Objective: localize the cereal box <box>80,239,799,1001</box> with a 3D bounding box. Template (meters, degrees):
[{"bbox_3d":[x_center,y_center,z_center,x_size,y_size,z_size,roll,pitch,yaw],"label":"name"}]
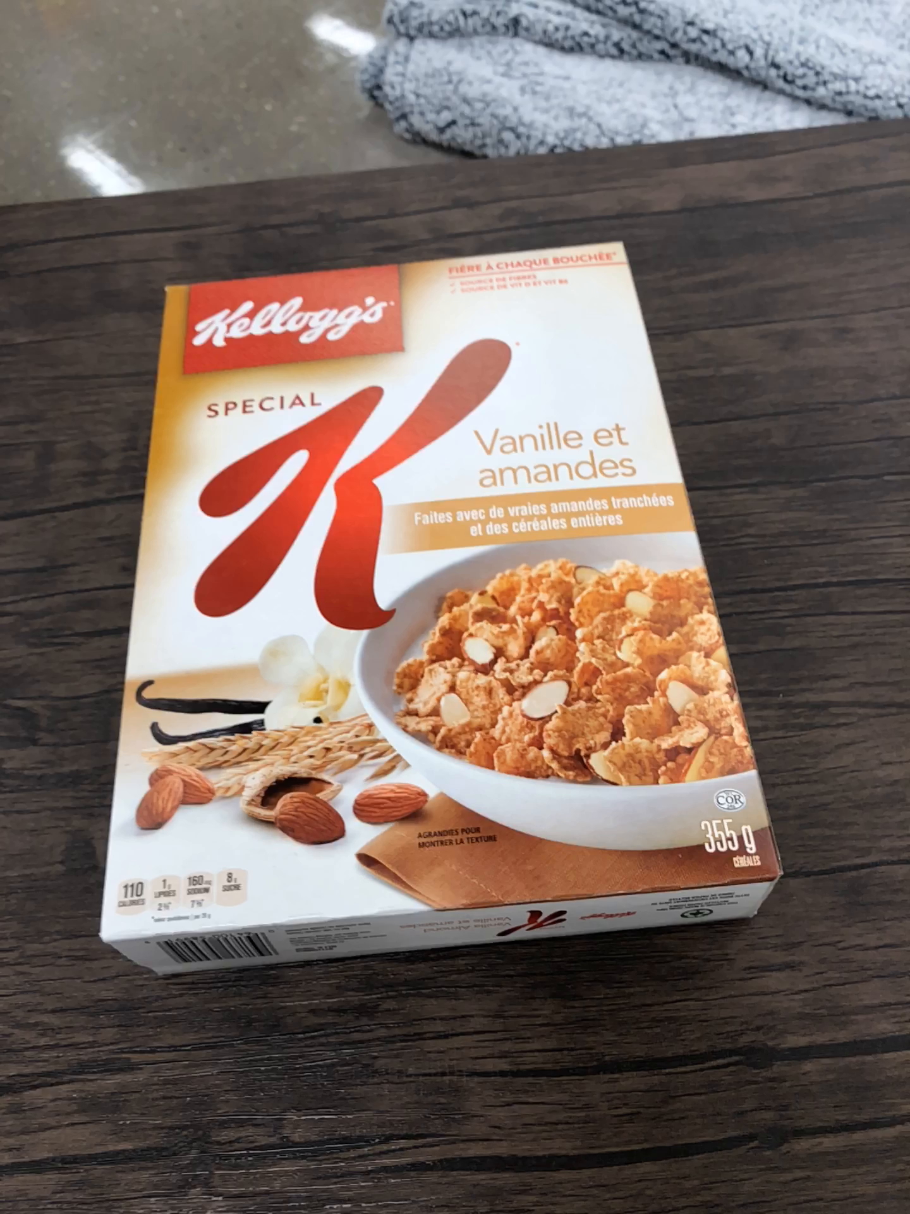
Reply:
[{"bbox_3d":[-0.013,-0.011,0.375,0.200,0.060,0.270,-5,60,0],"label":"cereal box"}]
